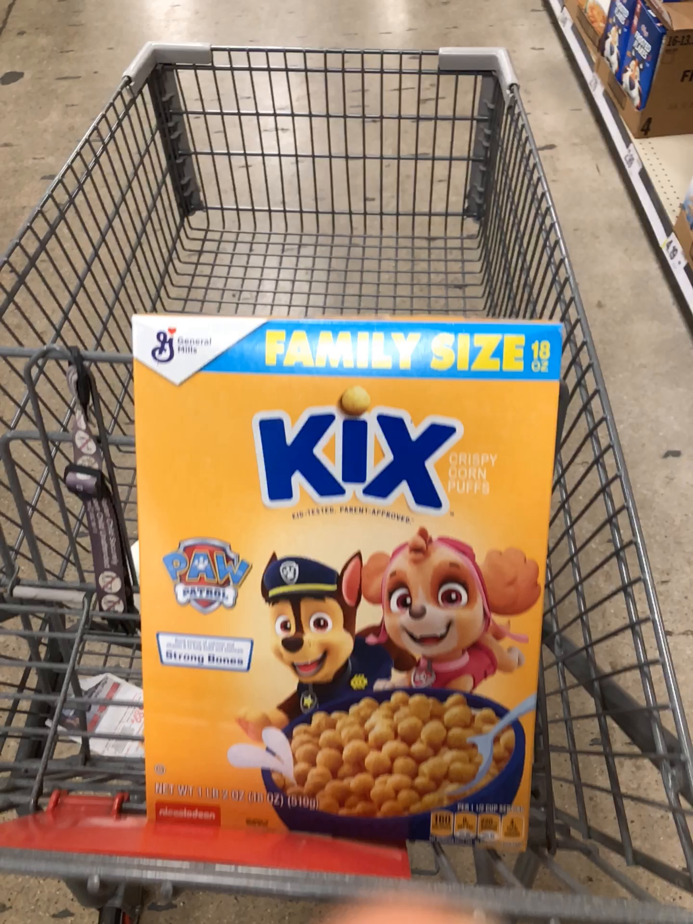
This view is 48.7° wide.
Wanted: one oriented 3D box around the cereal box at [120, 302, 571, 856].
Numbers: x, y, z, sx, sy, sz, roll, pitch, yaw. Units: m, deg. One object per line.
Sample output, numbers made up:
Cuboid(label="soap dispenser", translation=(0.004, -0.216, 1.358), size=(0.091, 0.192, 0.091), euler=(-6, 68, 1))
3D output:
Cuboid(label="cereal box", translation=(-0.003, 0.068, 0.500), size=(0.250, 0.330, 0.090), euler=(3, 13, 8))
